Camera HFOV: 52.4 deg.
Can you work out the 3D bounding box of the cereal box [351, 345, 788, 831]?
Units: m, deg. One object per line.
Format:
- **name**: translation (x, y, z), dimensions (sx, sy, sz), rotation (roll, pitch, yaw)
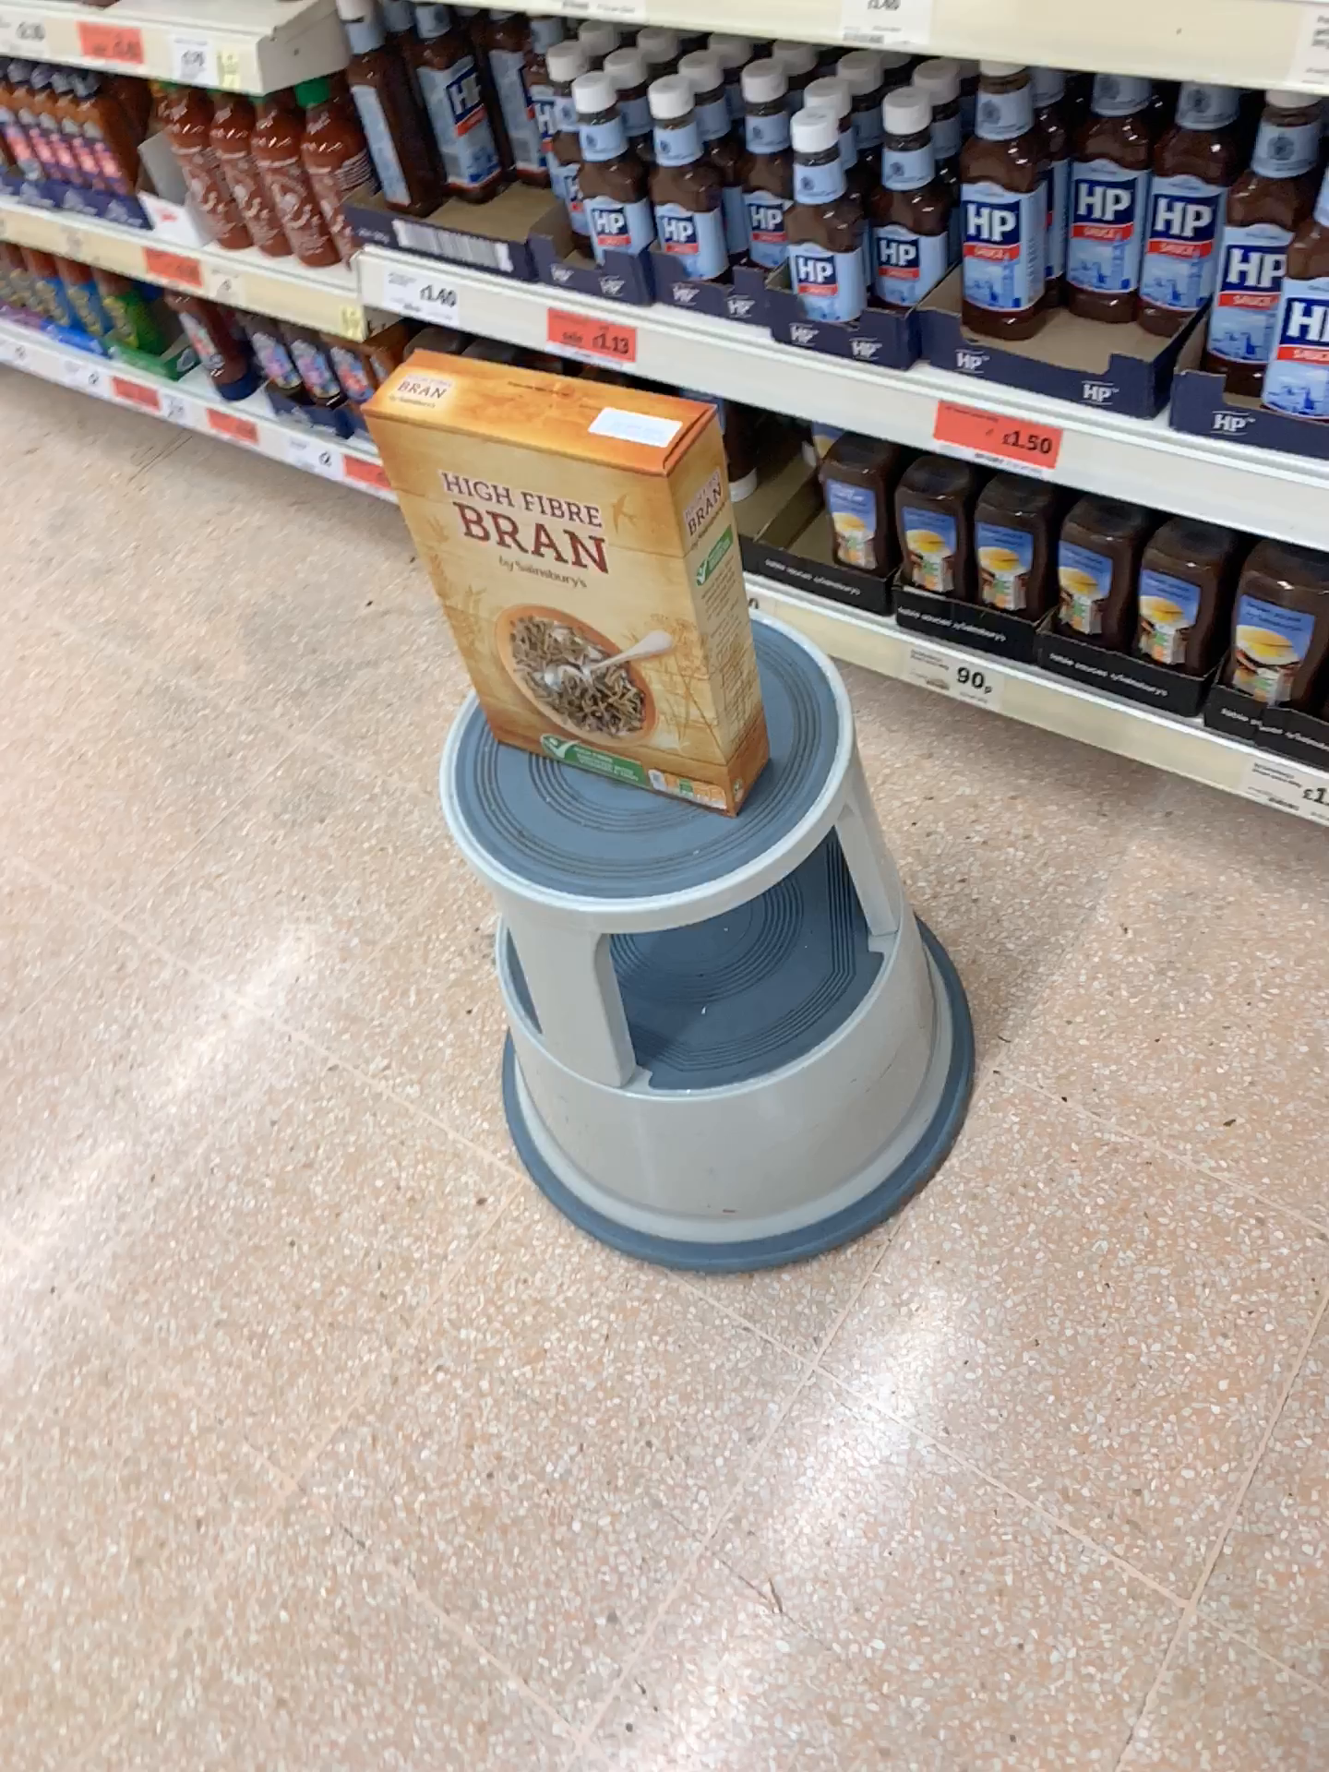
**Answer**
- **cereal box**: translation (-0.044, -0.170, 0.812), dimensions (0.201, 0.278, 0.060), rotation (19, 60, 25)
